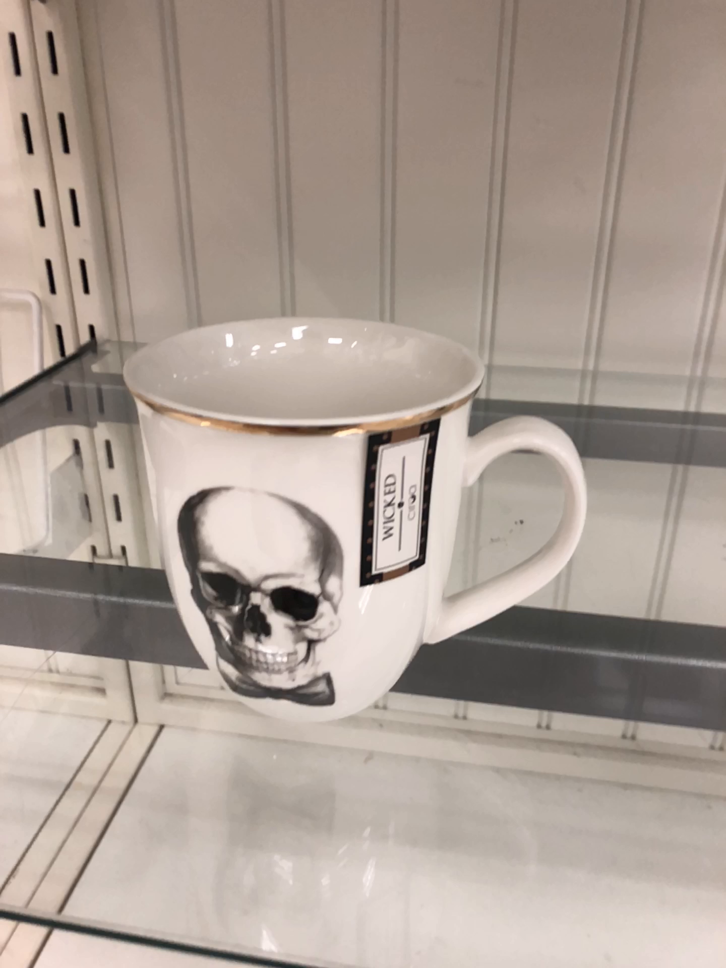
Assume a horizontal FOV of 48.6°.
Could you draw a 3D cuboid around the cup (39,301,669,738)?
[{"bbox_3d":[-0.002,0.003,0.228,0.130,0.088,0.095,0,25,-1],"label":"cup"}]
